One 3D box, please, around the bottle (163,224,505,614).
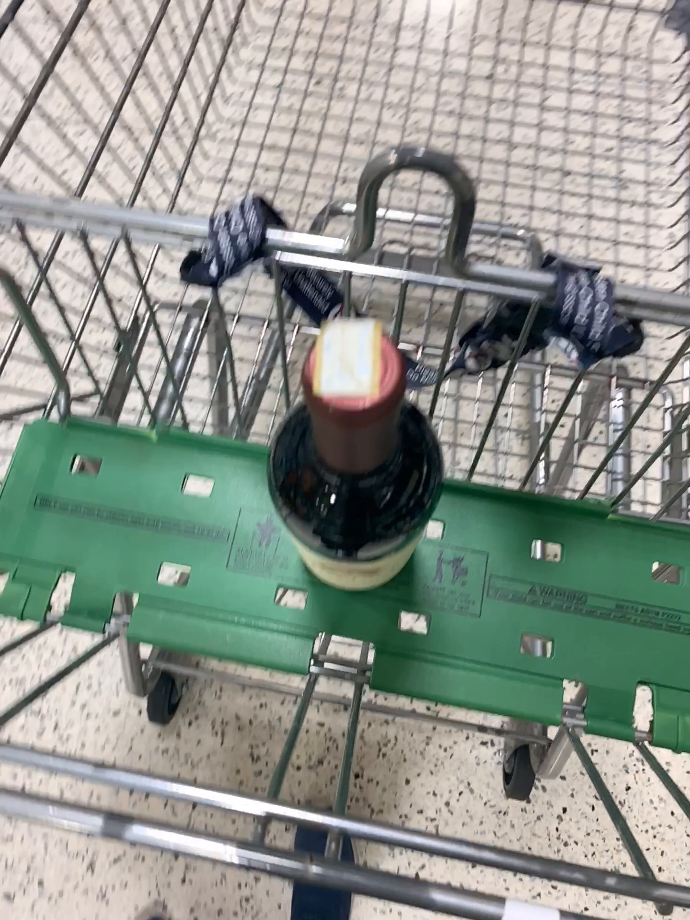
[{"bbox_3d":[0.002,0.014,0.317,0.080,0.269,0.080,0,74,1],"label":"bottle"}]
